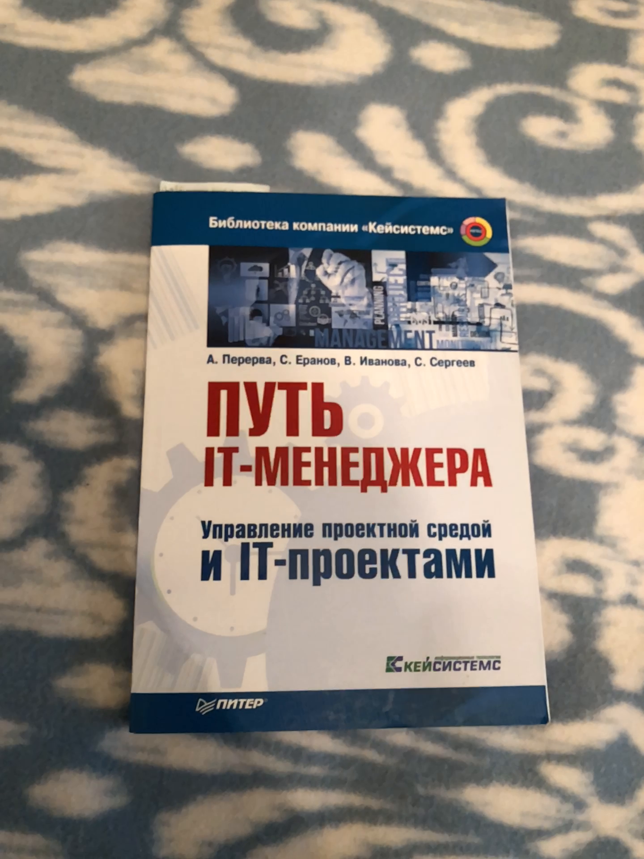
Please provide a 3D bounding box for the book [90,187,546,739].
[{"bbox_3d":[-0.002,0.006,0.306,0.173,0.019,0.228,0,77,-3],"label":"book"}]
